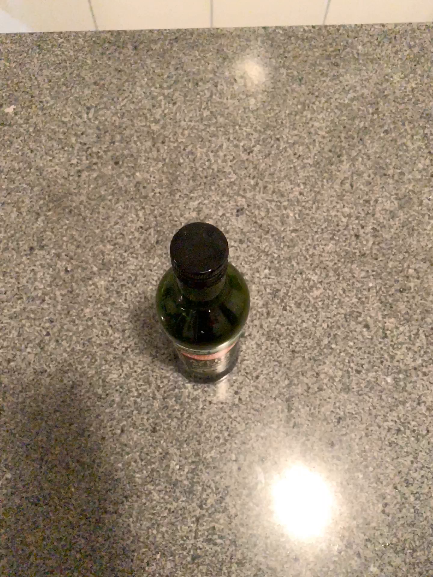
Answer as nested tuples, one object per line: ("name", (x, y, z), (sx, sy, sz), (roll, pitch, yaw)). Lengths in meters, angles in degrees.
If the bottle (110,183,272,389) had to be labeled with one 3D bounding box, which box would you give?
("bottle", (-0.014, 0.021, 0.331), (0.070, 0.240, 0.060), (-10, 70, -4))
